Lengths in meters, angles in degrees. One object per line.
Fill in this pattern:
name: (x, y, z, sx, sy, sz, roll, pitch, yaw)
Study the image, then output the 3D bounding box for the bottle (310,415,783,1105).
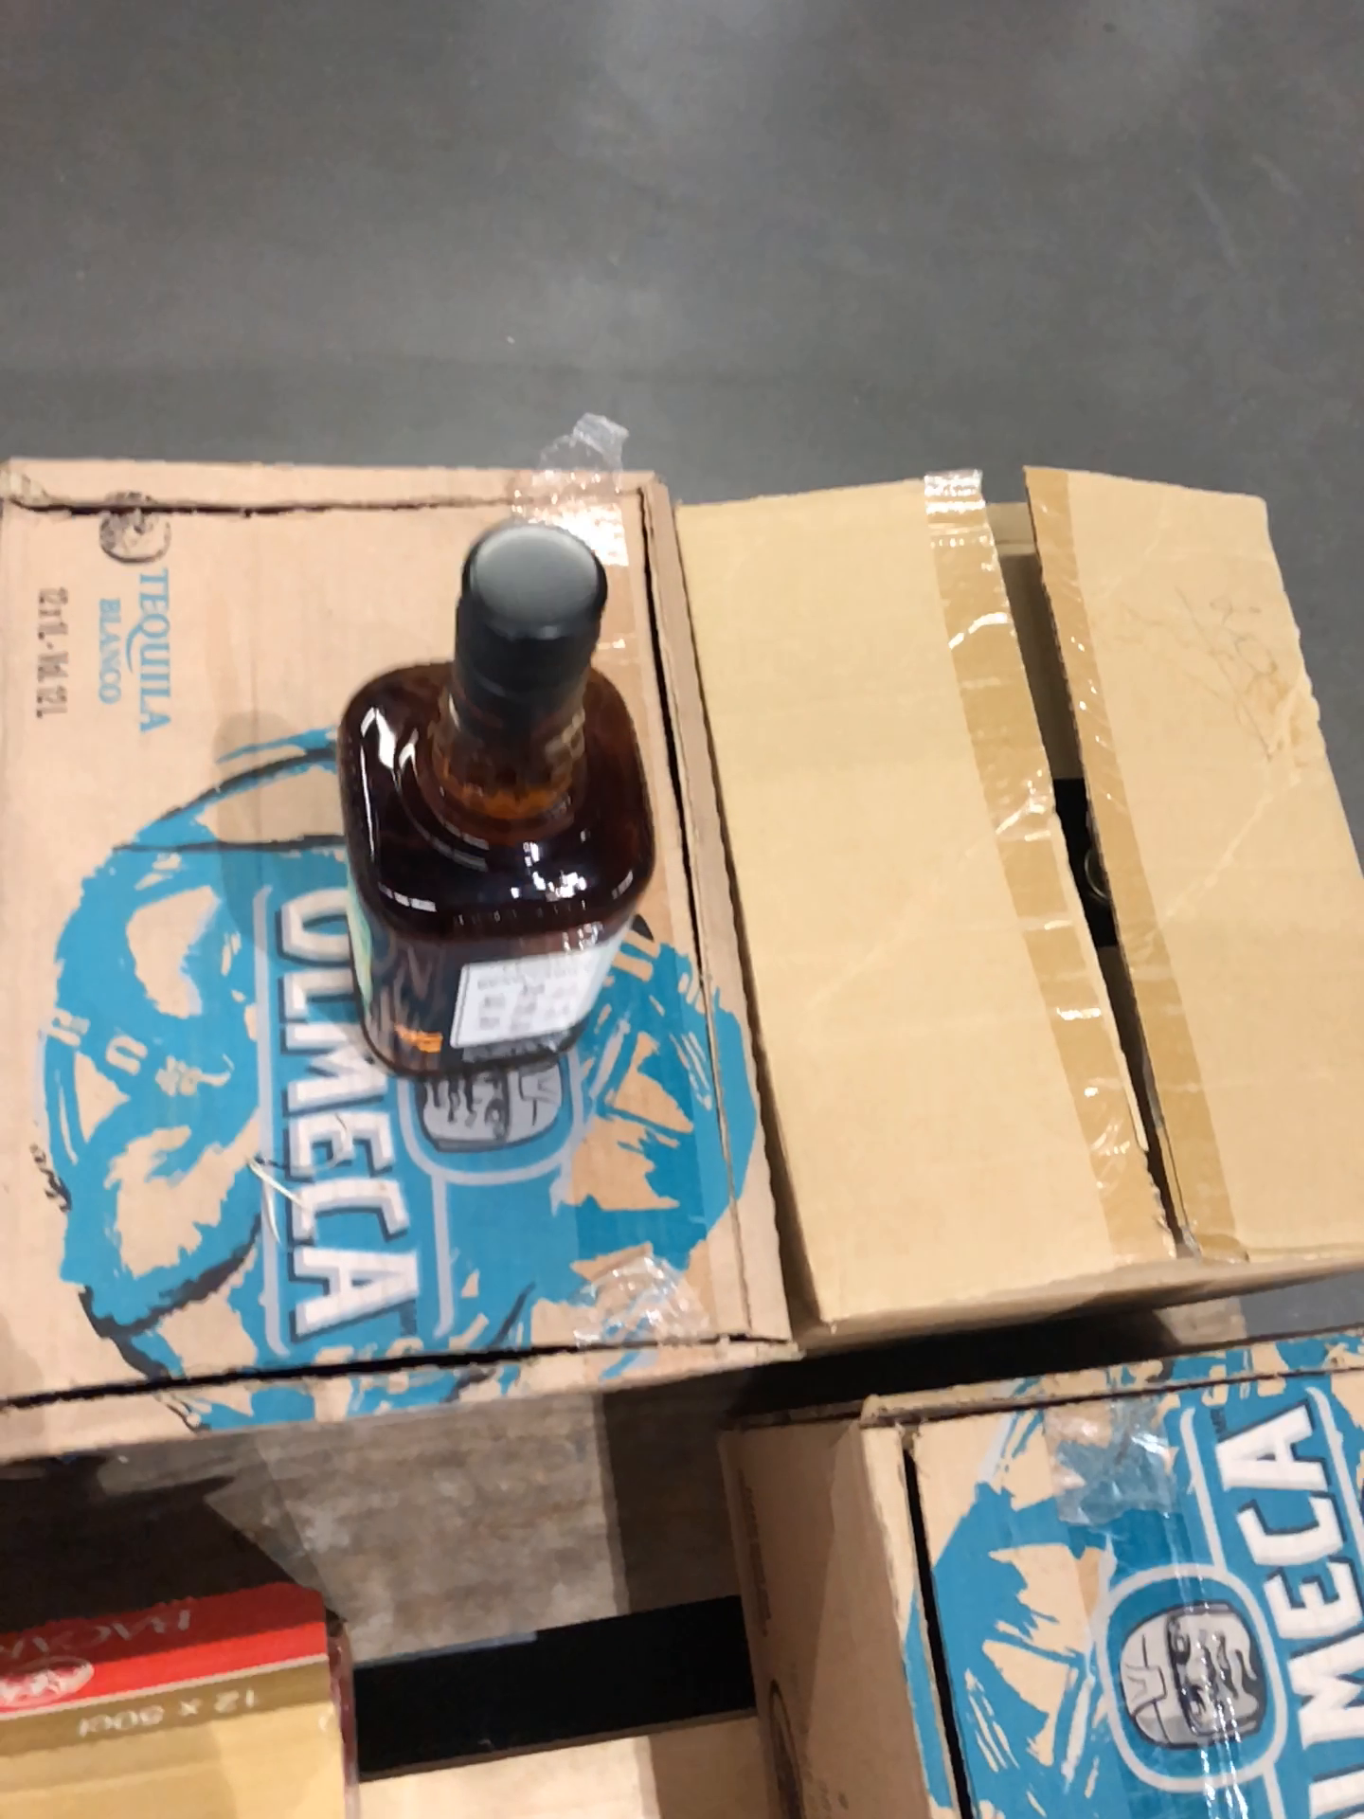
bottle: (-0.053, -0.021, 0.432, 0.086, 0.259, 0.090, 4, 70, -10)
